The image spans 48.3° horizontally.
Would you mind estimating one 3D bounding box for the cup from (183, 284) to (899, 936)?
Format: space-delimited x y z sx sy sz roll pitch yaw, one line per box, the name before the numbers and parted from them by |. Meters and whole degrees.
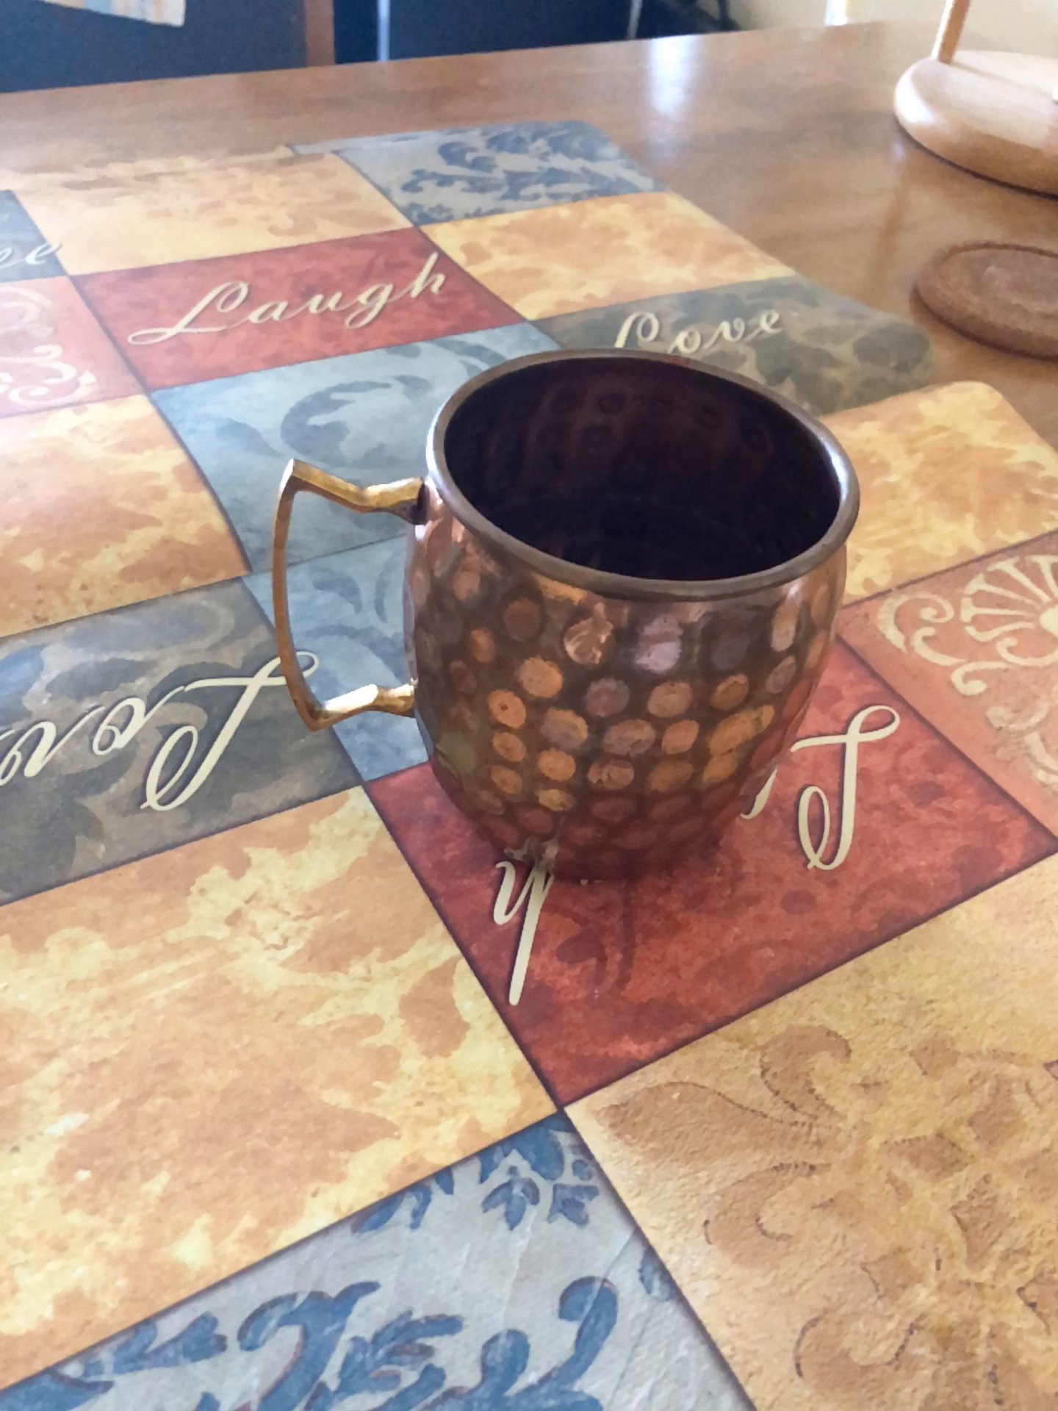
cup | 0.002 -0.022 0.263 0.120 0.090 0.100 6 45 -1
